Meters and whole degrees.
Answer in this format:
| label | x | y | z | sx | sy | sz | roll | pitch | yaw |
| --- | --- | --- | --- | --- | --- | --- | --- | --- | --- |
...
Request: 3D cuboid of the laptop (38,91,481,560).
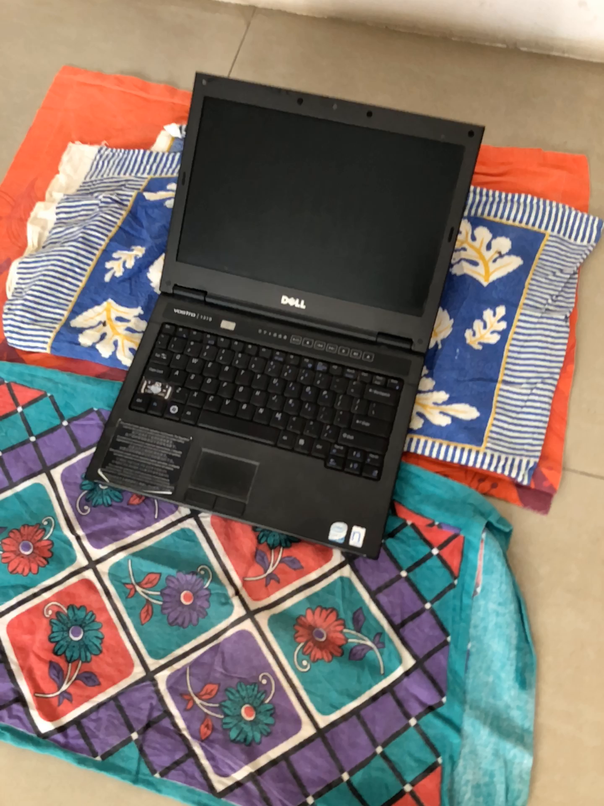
| label | x | y | z | sx | sy | sz | roll | pitch | yaw |
| --- | --- | --- | --- | --- | --- | --- | --- | --- | --- |
| laptop | -0.018 | -0.094 | 0.680 | 0.305 | 0.125 | 0.420 | 14 | 68 | 8 |
